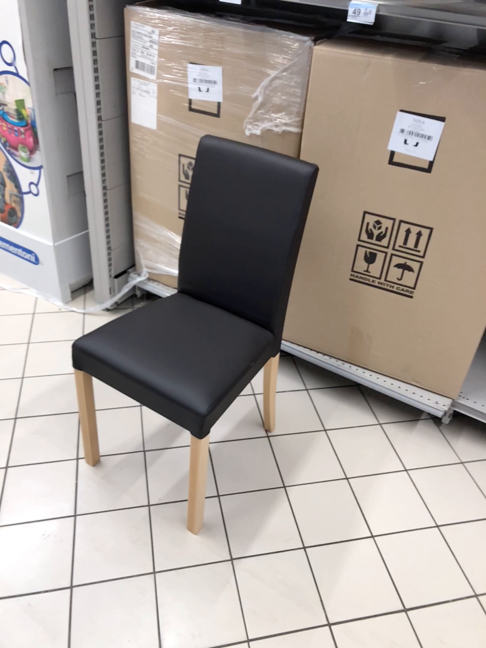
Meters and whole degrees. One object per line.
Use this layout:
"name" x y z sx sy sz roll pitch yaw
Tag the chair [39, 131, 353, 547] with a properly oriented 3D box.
"chair" -0.103 0.017 1.454 0.450 0.855 0.594 23 38 23
